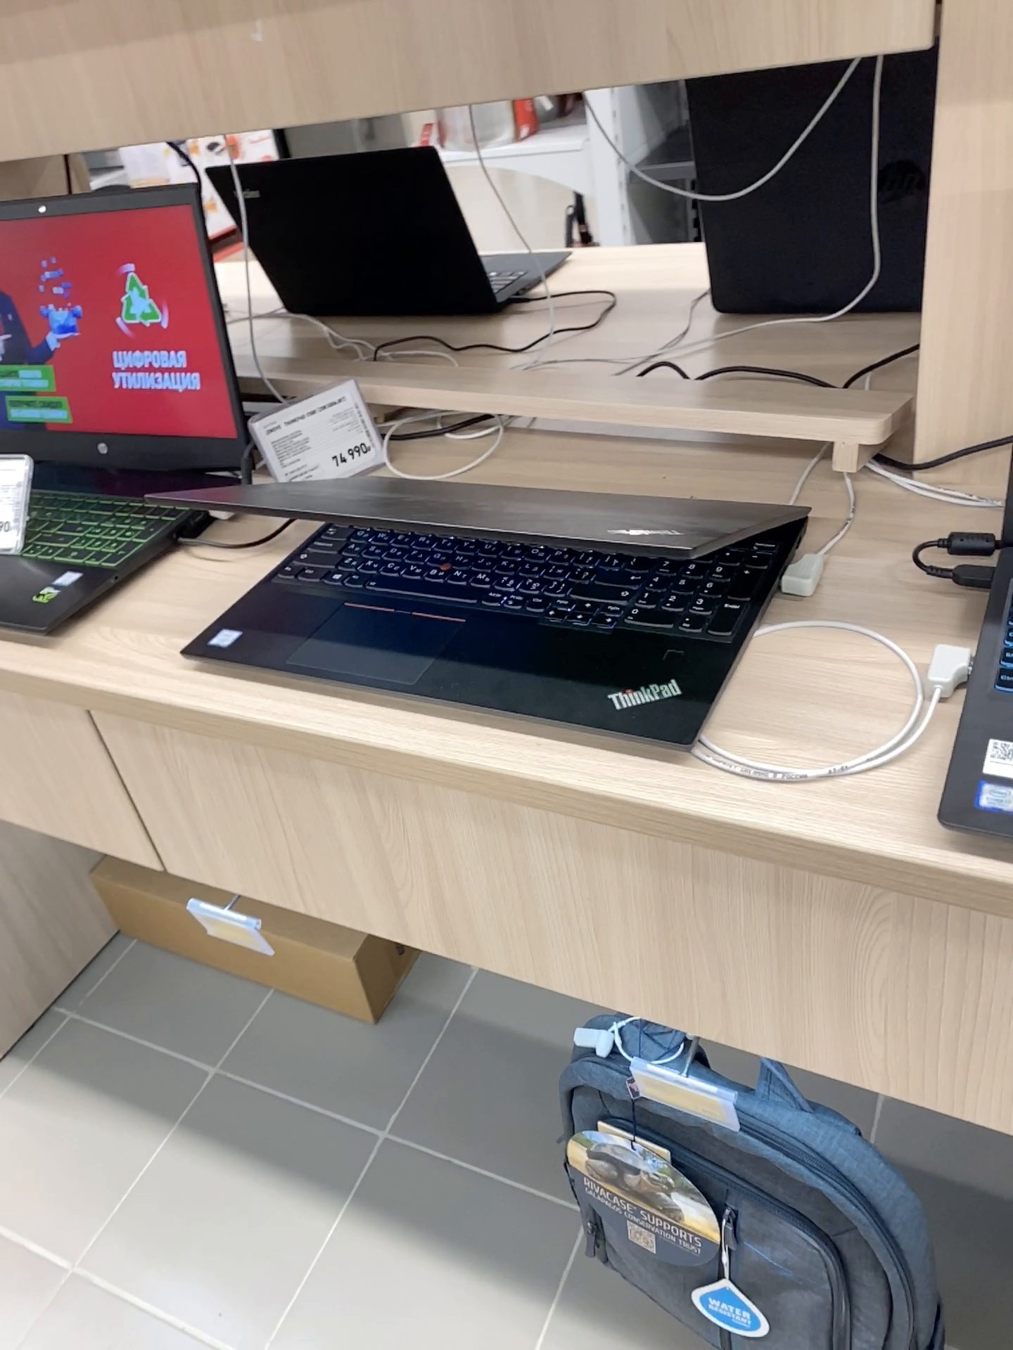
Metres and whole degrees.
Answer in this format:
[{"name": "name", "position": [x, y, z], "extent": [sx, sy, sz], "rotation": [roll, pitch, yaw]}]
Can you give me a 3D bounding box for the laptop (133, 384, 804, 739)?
[{"name": "laptop", "position": [-0.019, -0.100, 0.683], "extent": [0.369, 0.093, 0.240], "rotation": [9, 40, 29]}]
